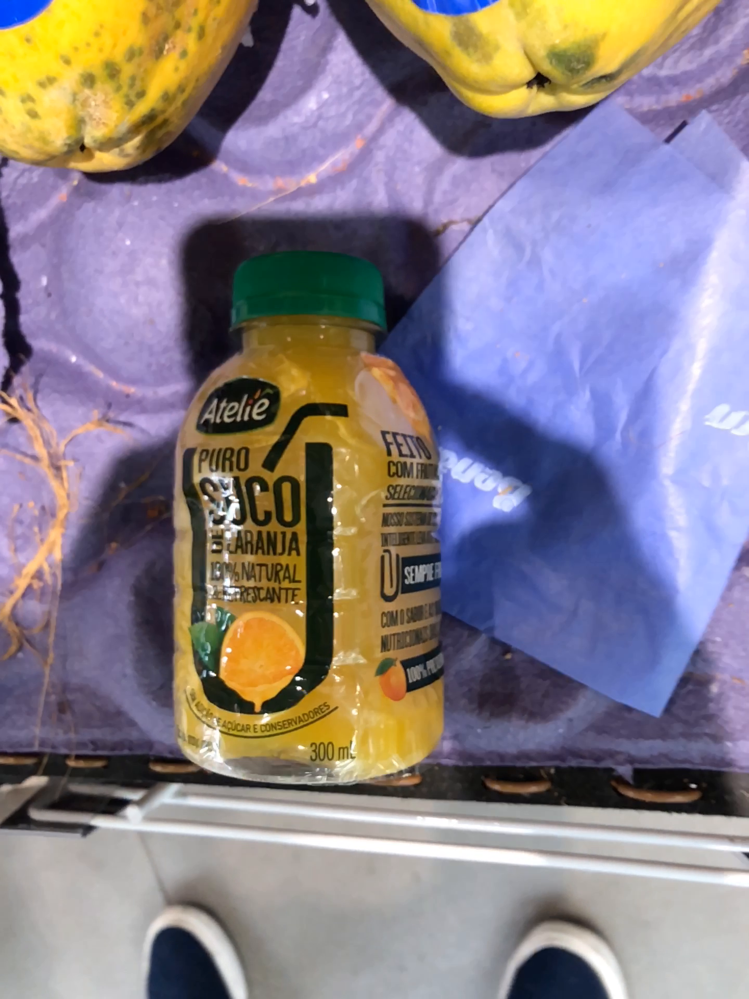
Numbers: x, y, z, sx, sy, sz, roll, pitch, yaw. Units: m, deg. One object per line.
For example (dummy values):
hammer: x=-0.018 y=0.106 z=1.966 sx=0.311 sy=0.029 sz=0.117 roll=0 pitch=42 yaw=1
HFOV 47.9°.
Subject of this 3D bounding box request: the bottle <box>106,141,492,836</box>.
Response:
bottle: x=-0.013 y=-0.002 z=0.209 sx=0.070 sy=0.060 sz=0.140 roll=0 pitch=96 yaw=19
